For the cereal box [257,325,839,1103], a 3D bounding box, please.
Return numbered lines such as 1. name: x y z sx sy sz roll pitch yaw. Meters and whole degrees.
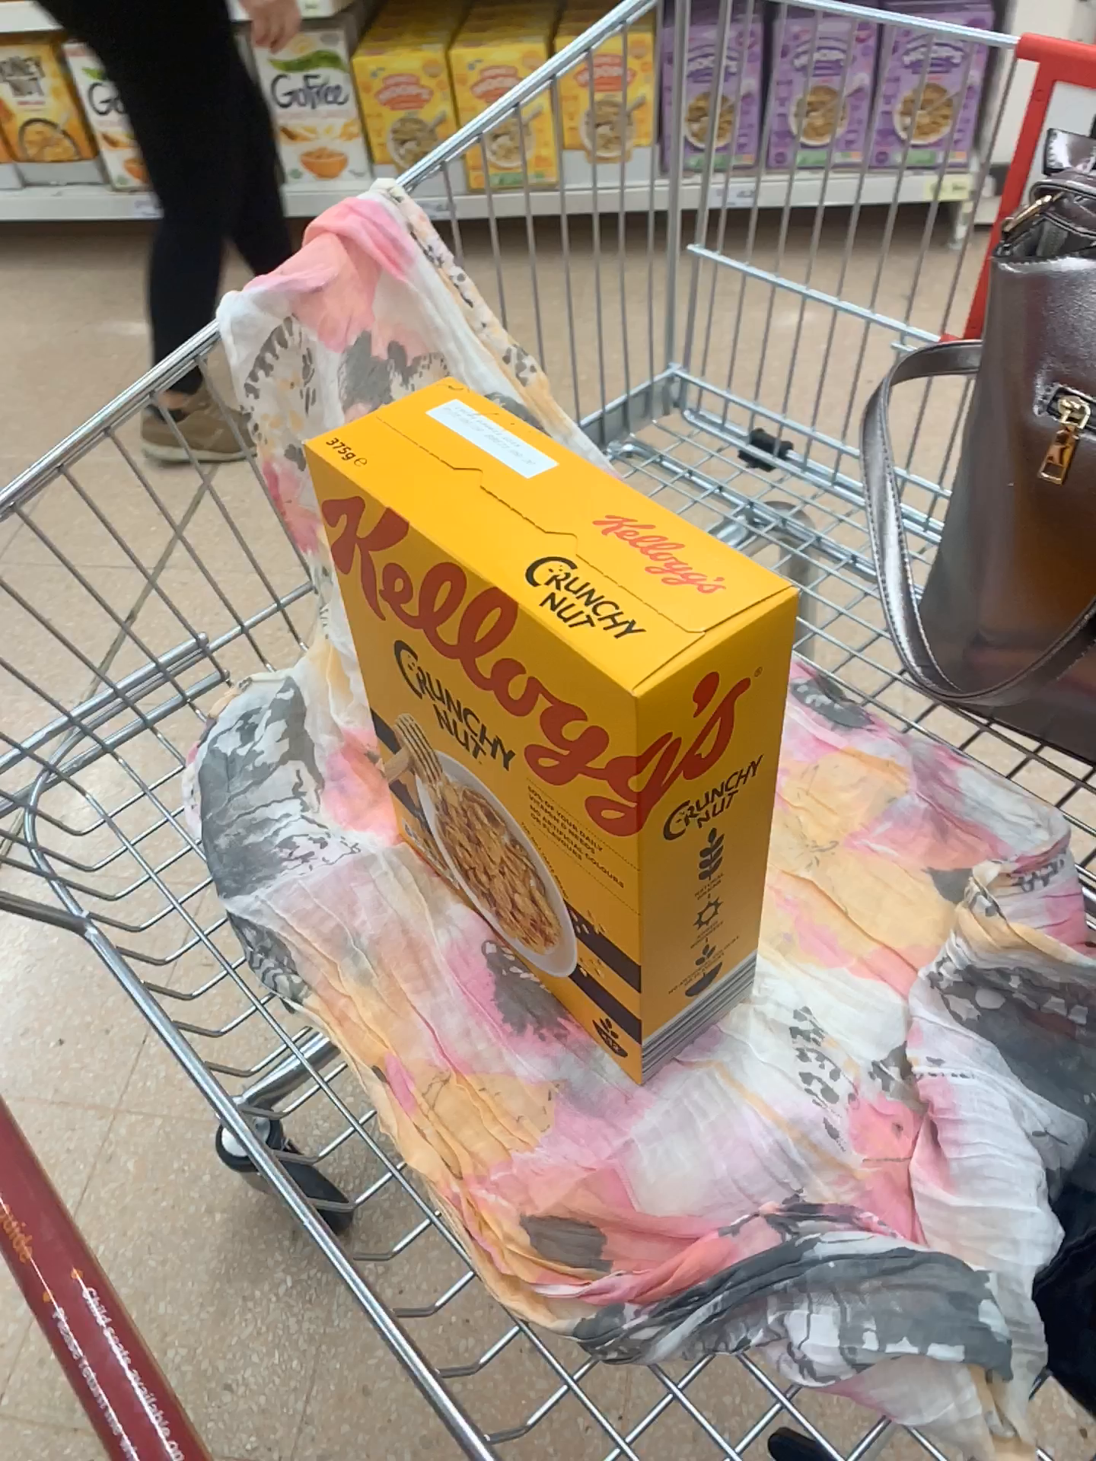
1. cereal box: -0.001 -0.001 0.473 0.080 0.258 0.211 -34 52 -24
